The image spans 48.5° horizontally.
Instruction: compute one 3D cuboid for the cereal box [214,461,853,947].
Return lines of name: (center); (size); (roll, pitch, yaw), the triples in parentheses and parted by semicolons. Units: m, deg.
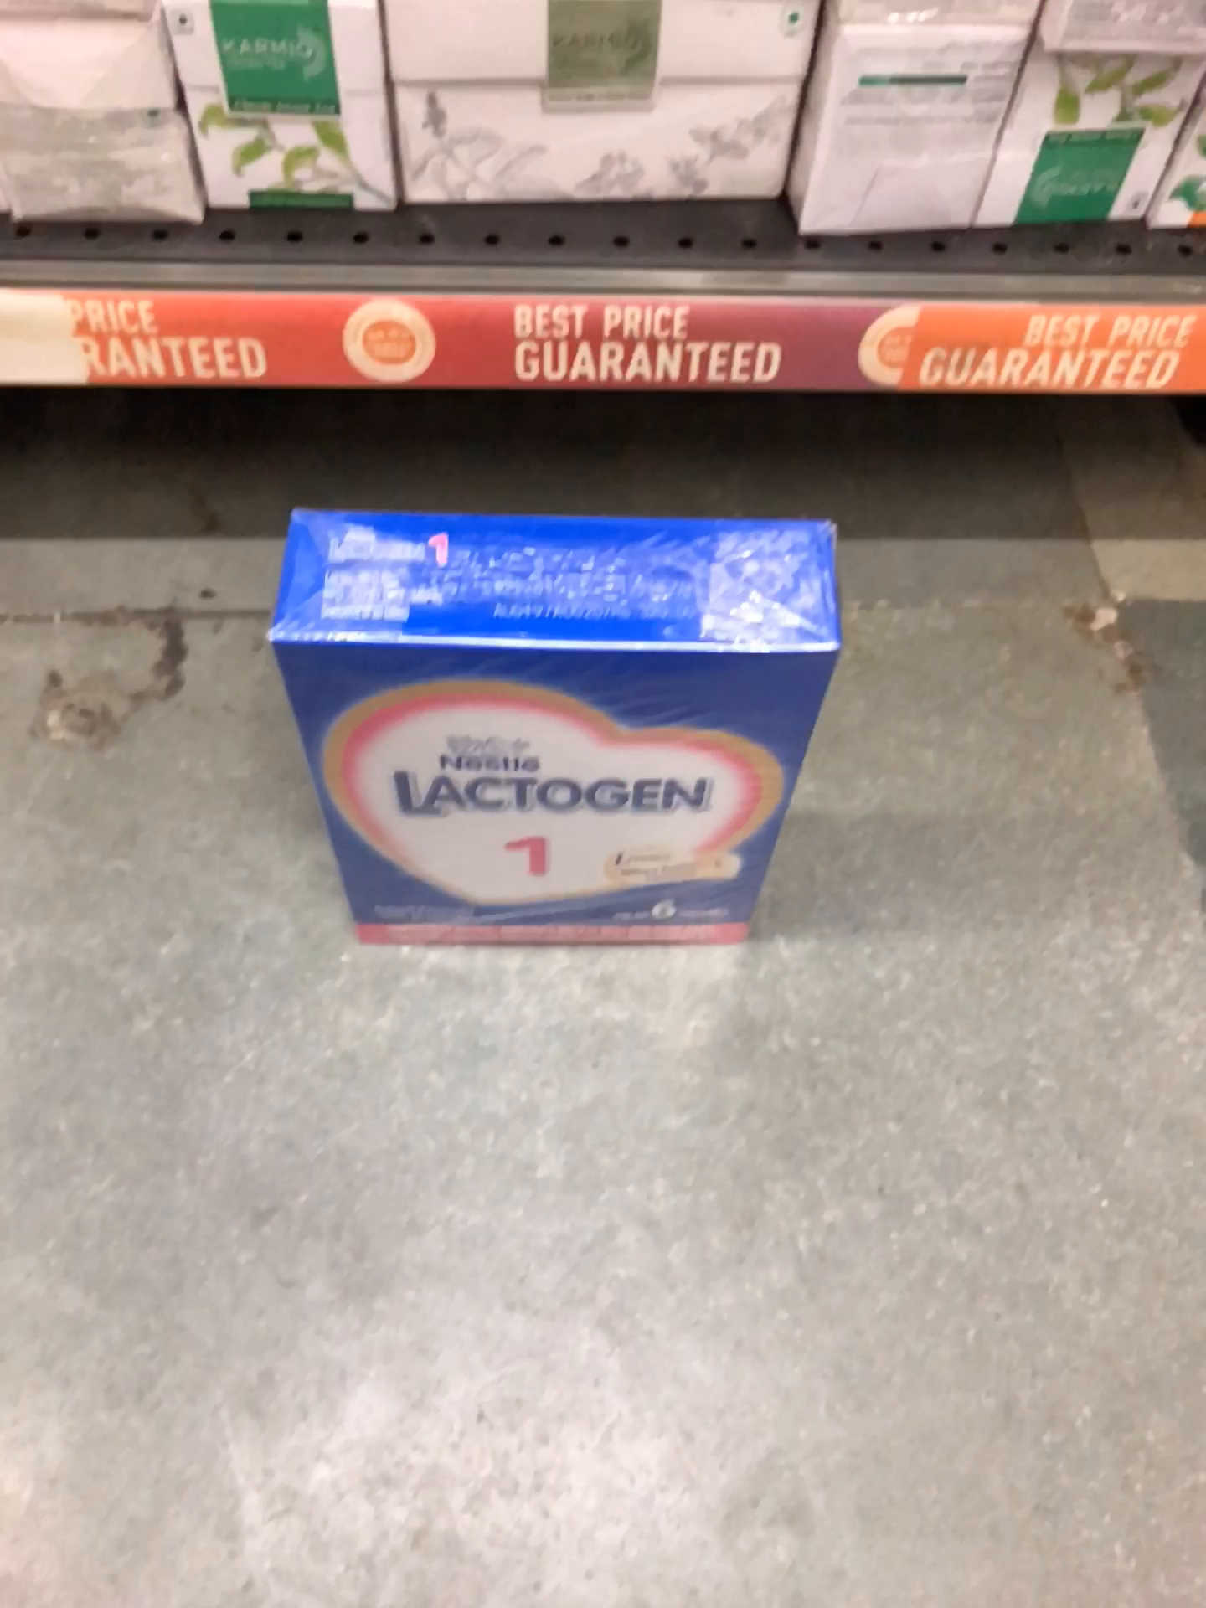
cereal box: (-0.022, -0.018, 0.434); (0.160, 0.199, 0.050); (0, 59, -3)
